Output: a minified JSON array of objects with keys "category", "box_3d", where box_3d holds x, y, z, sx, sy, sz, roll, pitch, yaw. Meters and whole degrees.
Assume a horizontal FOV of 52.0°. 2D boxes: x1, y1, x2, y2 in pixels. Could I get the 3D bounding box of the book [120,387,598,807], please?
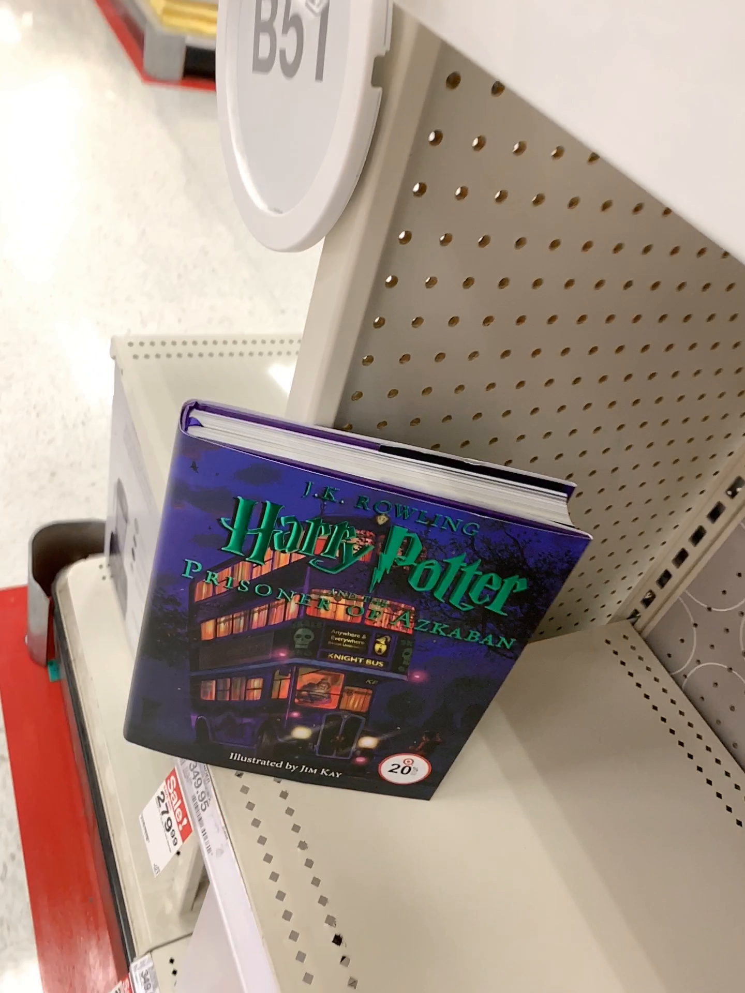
[{"category":"book","box_3d":[-0.028,0.088,0.502,0.240,0.281,0.050,13,36,-8]}]
